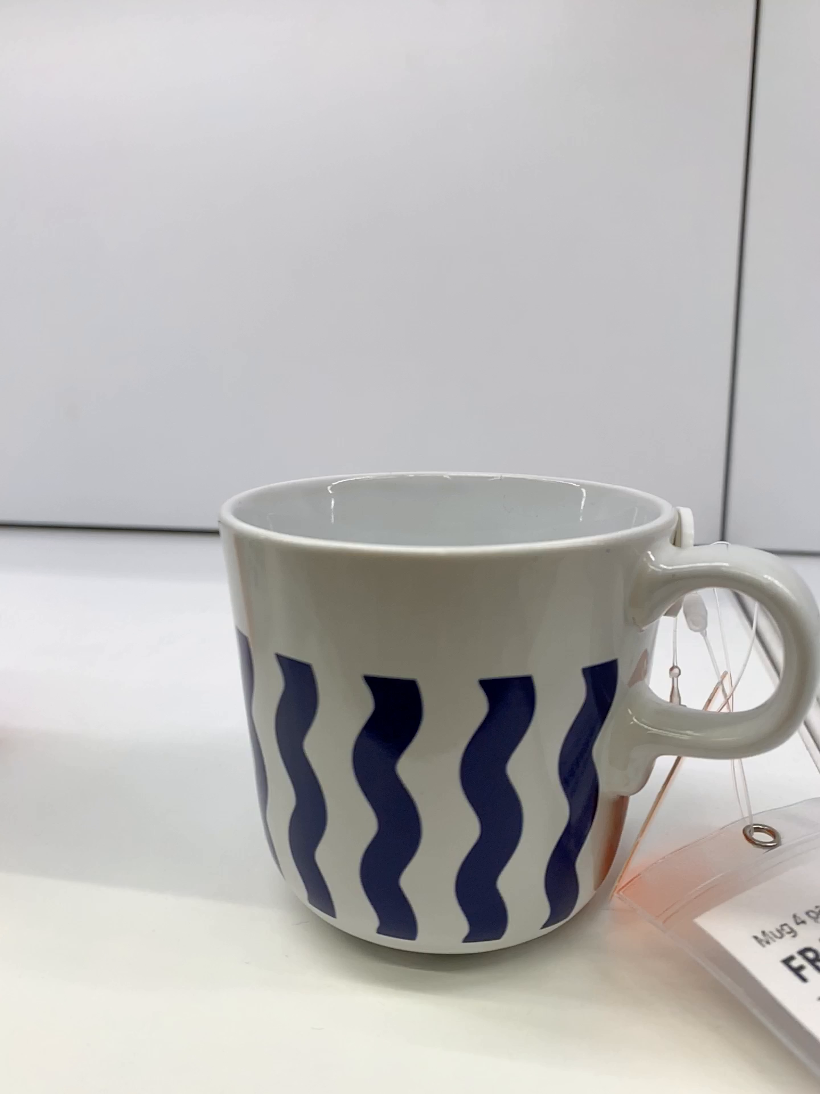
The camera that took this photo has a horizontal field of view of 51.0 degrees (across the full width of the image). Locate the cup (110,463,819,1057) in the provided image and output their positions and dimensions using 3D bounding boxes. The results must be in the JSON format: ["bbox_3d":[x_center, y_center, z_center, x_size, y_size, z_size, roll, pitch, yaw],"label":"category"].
[{"bbox_3d":[0.014,0.025,0.158,0.101,0.071,0.076,2,12,13],"label":"cup"}]
